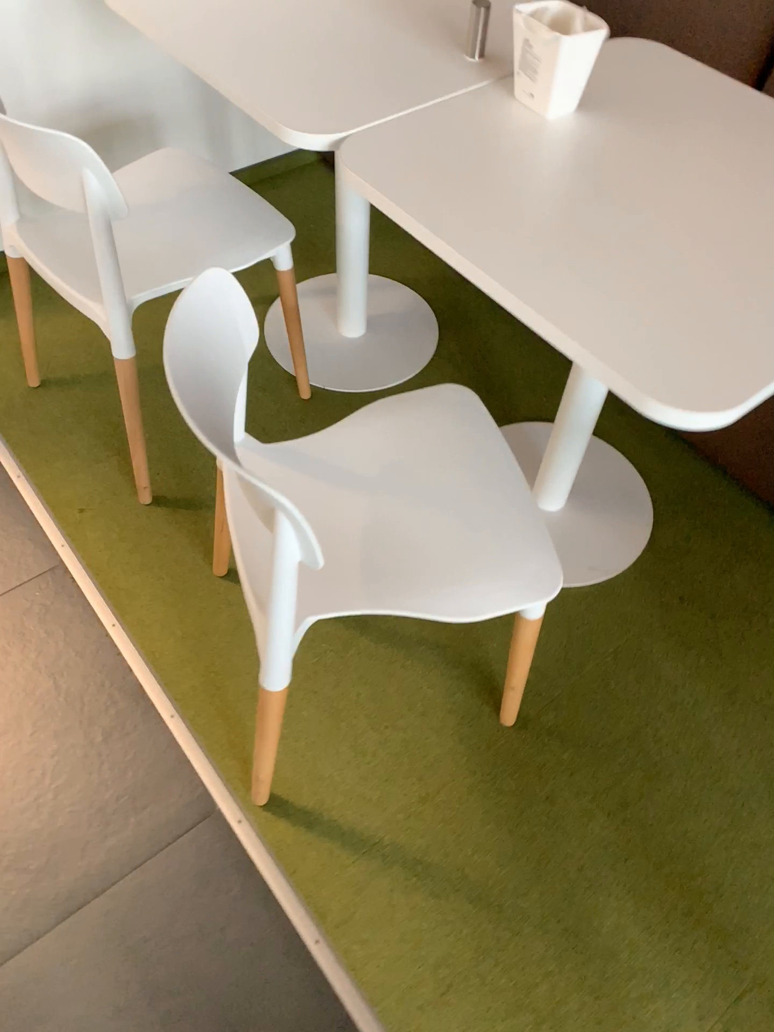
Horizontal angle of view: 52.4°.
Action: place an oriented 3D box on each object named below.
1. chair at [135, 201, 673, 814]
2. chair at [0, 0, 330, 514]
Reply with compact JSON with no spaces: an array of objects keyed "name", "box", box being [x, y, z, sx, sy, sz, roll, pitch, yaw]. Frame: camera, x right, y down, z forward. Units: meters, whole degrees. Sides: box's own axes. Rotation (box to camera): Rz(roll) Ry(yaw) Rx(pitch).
[{"name":"chair","box":[-0.032,0.031,1.196,0.500,0.747,0.512,-10,55,-10]},{"name":"chair","box":[-0.498,-0.526,1.596,0.511,0.727,0.561,-37,64,-26]}]
